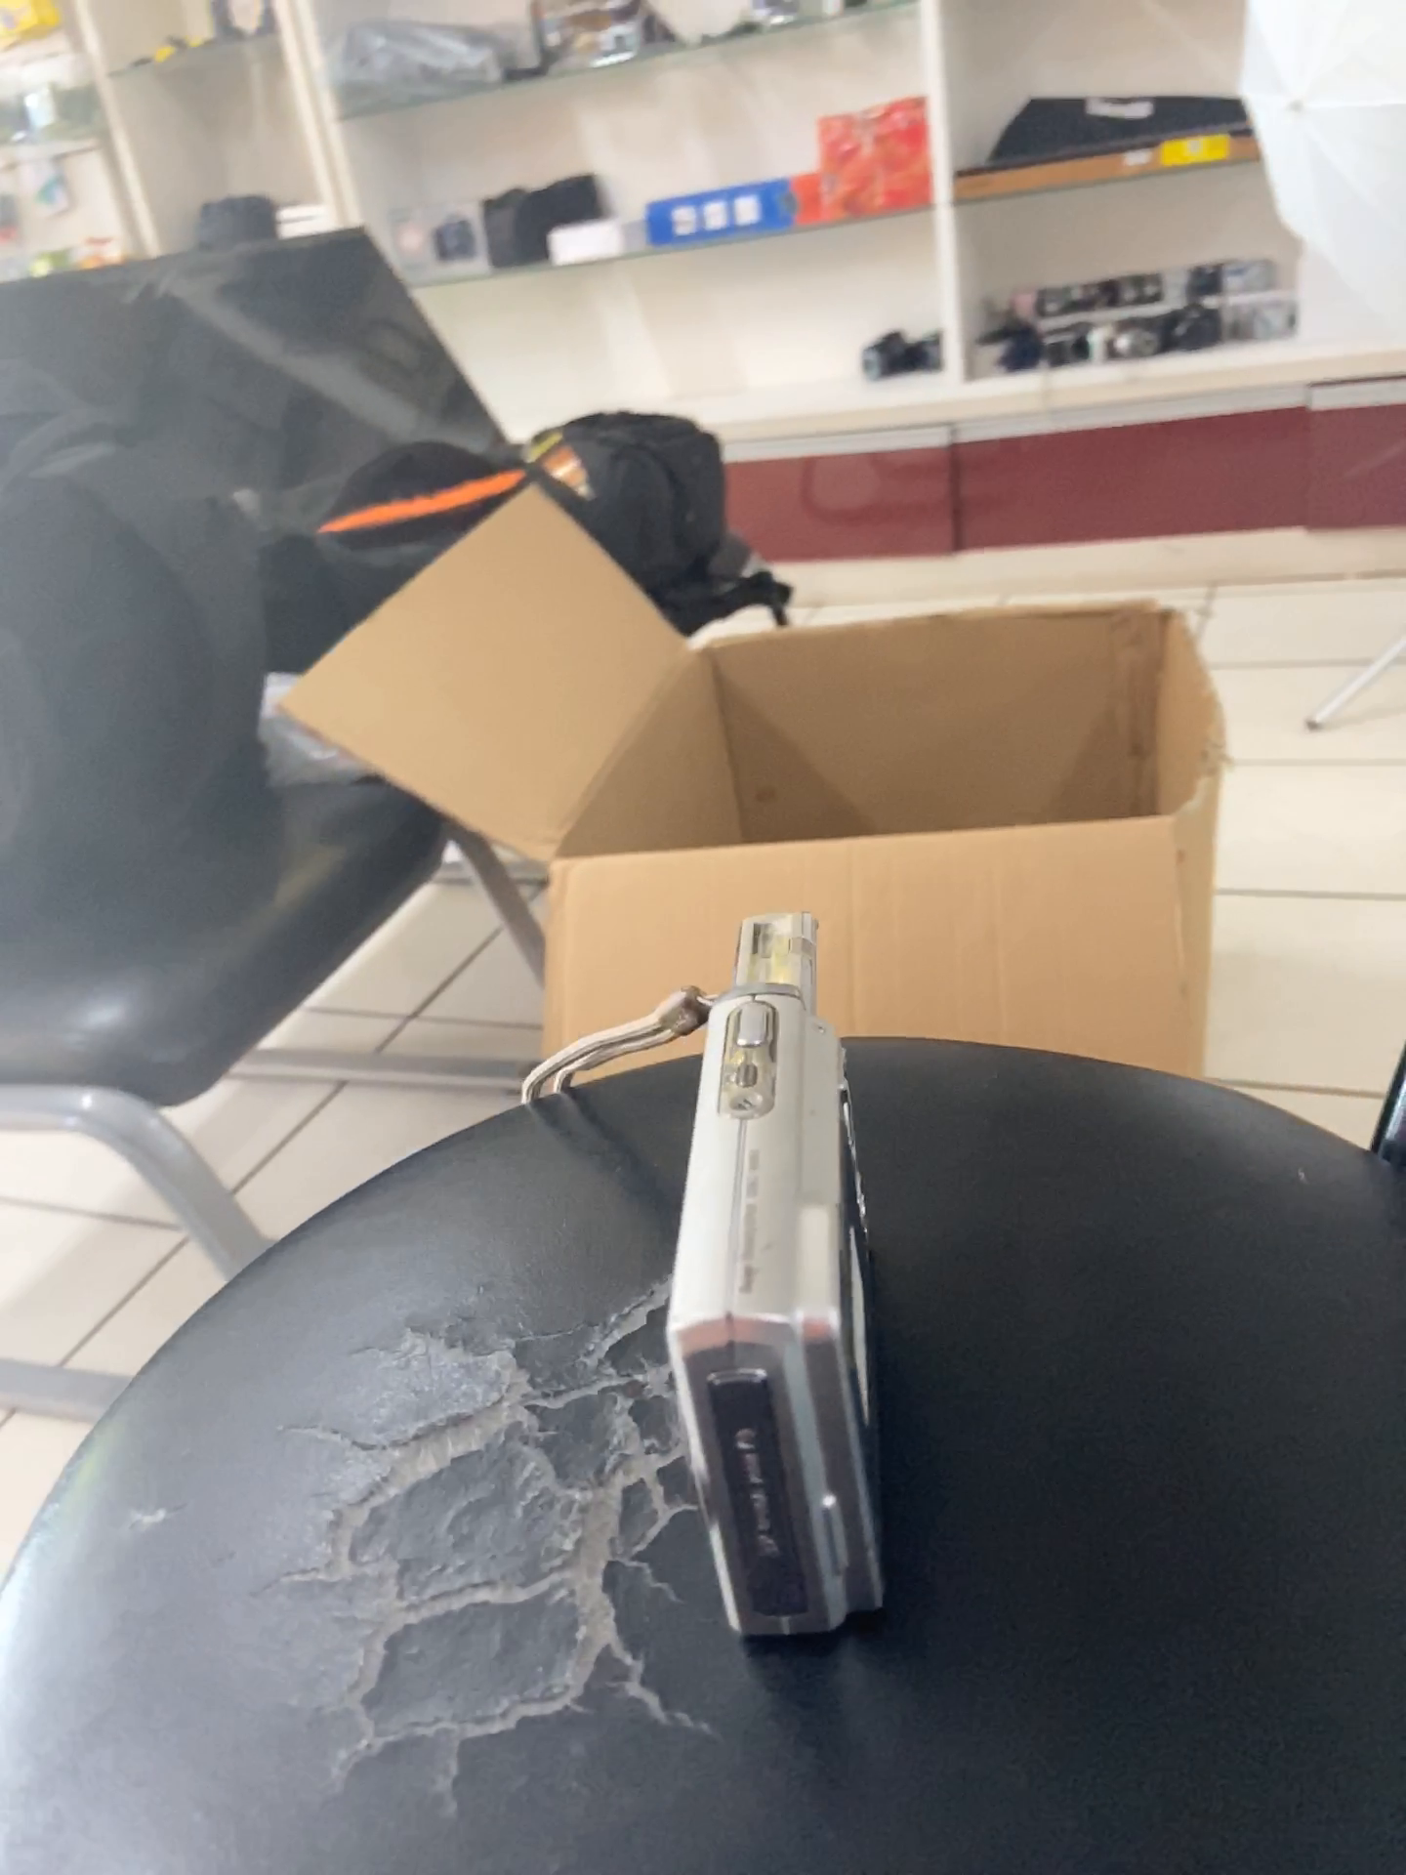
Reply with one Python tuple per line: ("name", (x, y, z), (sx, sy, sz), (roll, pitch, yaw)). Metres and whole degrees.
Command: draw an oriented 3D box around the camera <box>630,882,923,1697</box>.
("camera", (0.015, 0.046, 0.243), (0.030, 0.053, 0.137), (-6, 27, 8))
